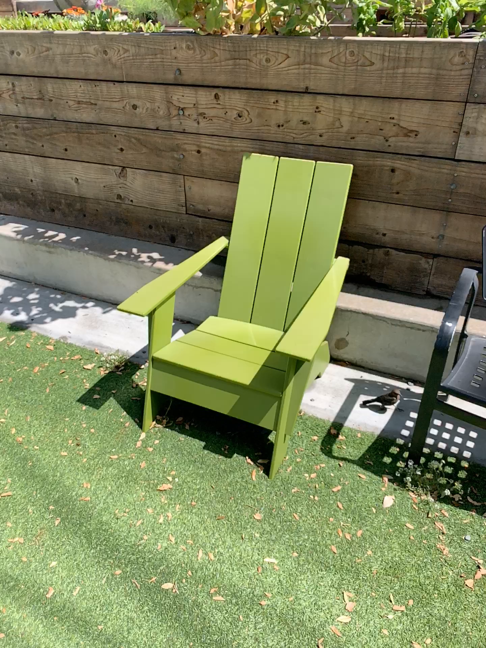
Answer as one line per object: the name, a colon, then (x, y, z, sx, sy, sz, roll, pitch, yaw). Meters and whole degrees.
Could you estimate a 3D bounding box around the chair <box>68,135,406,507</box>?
chair: (0.054, -0.096, 1.800, 0.722, 0.845, 0.903, 15, 38, 23)
